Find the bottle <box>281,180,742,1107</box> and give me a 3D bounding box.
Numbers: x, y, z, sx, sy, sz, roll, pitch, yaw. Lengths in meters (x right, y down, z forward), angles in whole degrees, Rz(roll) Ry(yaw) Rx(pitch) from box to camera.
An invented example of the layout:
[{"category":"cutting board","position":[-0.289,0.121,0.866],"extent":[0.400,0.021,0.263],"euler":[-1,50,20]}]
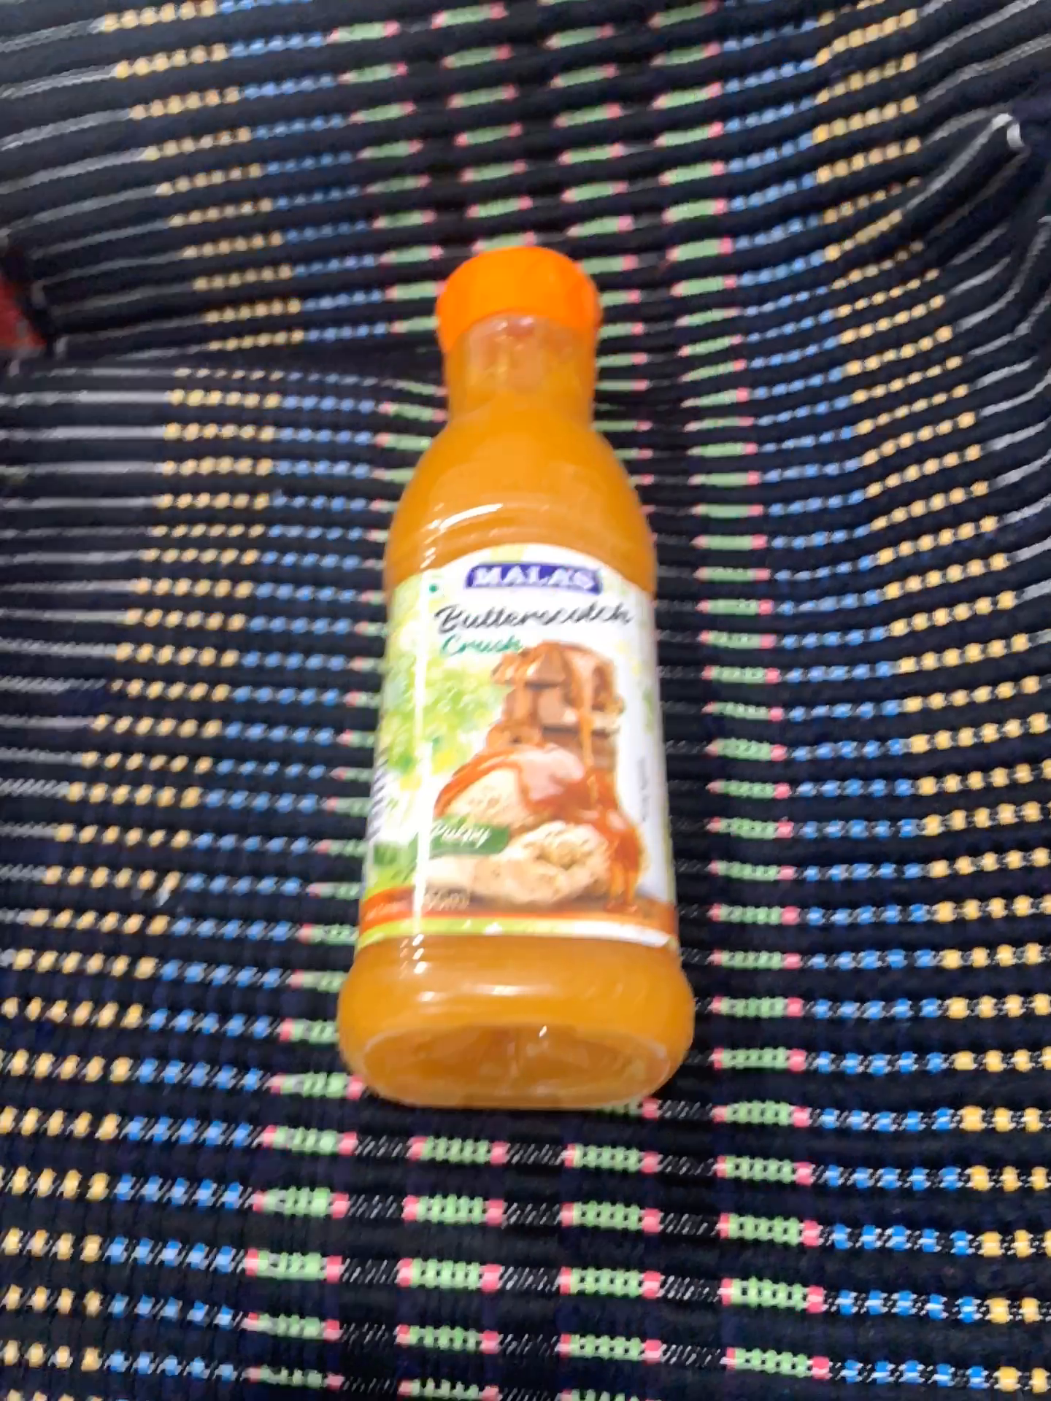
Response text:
[{"category":"bottle","position":[0.000,-0.038,0.269],"extent":[0.070,0.060,0.251],"euler":[1,51,1]}]
